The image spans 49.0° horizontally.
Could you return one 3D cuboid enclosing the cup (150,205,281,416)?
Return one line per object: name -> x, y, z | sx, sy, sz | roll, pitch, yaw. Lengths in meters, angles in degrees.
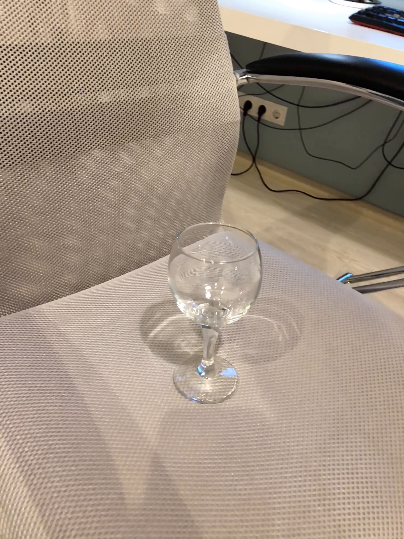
cup -> 0.009, 0.042, 0.419 | 0.088, 0.172, 0.081 | 5, 38, -4
